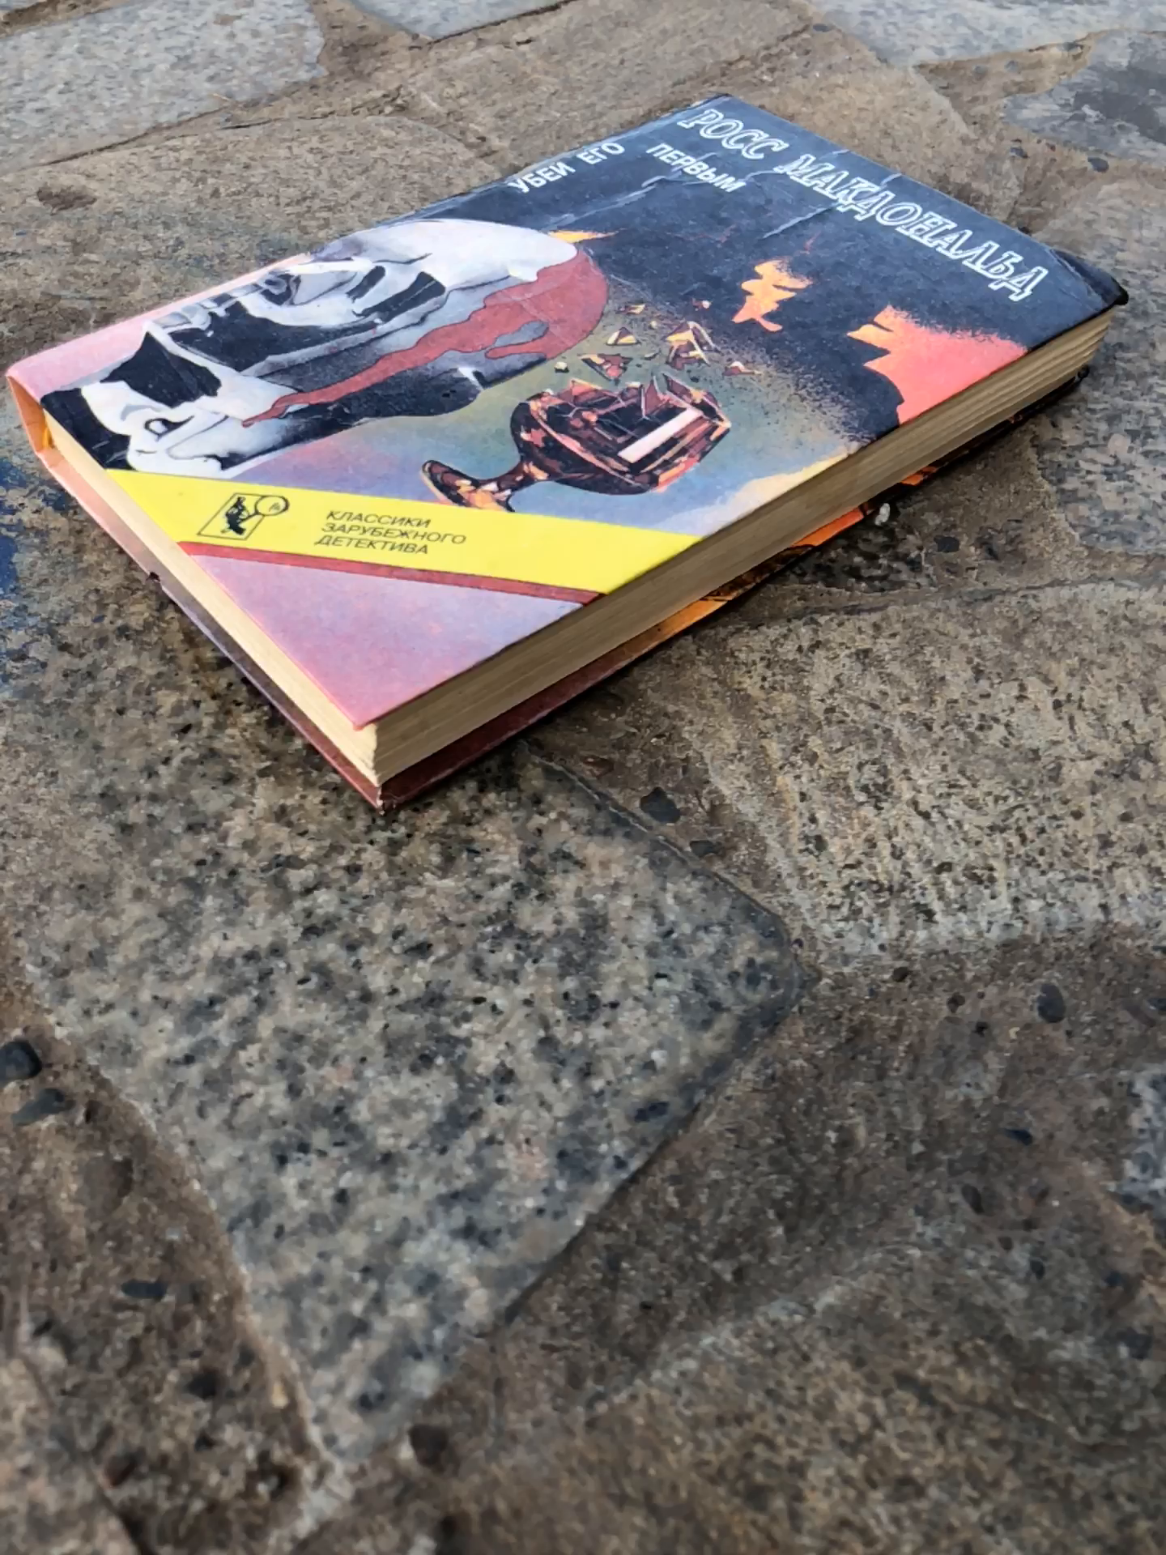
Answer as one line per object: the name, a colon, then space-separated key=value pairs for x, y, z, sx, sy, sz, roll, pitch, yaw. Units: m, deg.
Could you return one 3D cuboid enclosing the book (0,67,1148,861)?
book: x=-0.004 y=-0.089 z=0.282 sx=0.210 sy=0.030 sz=0.140 roll=-33 pitch=57 yaw=-25
